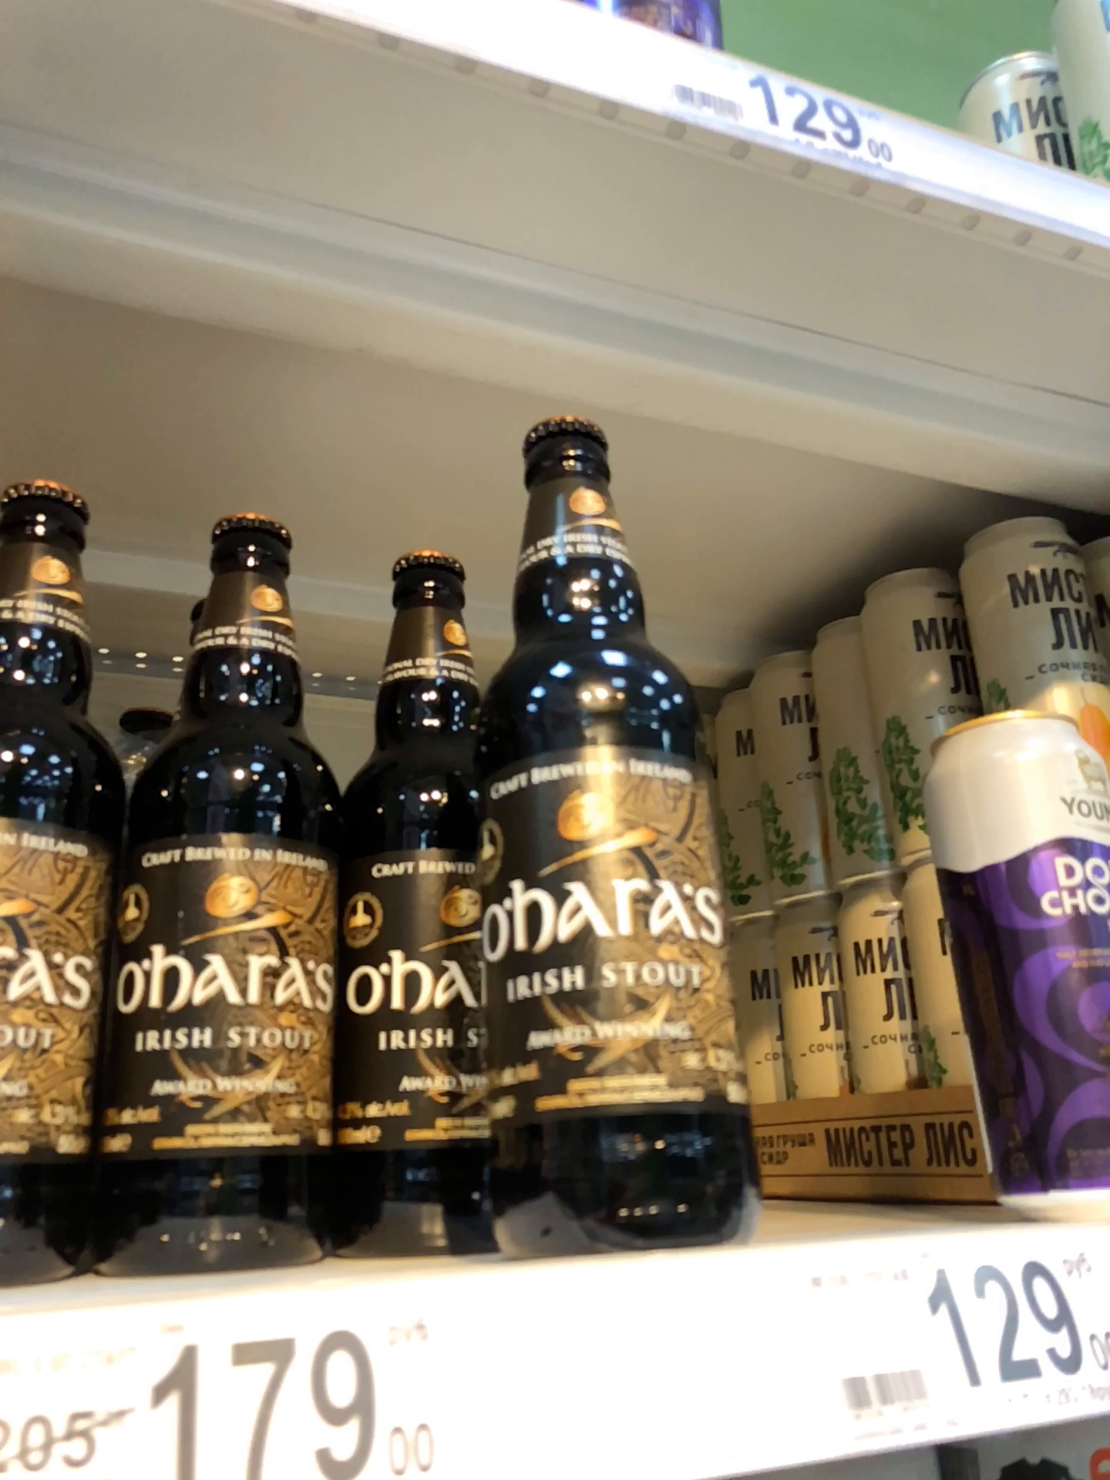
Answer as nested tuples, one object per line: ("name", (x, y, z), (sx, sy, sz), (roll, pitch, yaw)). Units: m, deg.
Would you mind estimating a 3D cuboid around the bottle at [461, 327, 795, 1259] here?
("bottle", (0.014, 0.009, 0.337), (0.070, 0.241, 0.070), (-2, -20, -1))
